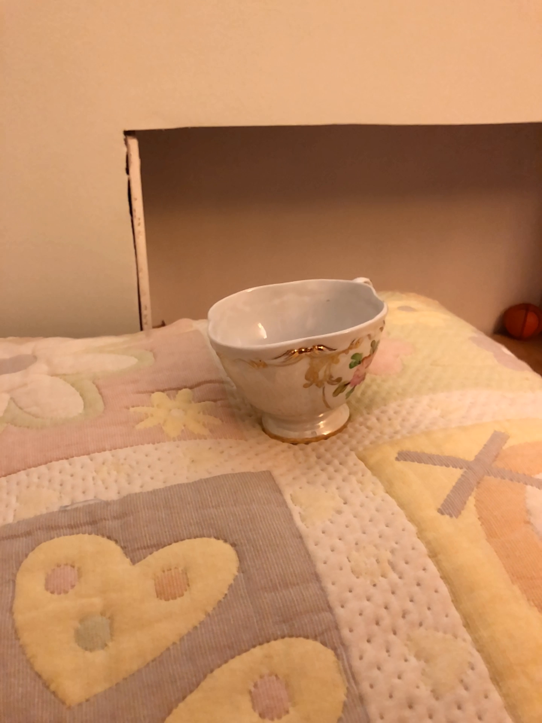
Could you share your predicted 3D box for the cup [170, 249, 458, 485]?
[{"bbox_3d":[0.033,-0.010,0.342,0.100,0.070,0.141,10,29,34],"label":"cup"}]
